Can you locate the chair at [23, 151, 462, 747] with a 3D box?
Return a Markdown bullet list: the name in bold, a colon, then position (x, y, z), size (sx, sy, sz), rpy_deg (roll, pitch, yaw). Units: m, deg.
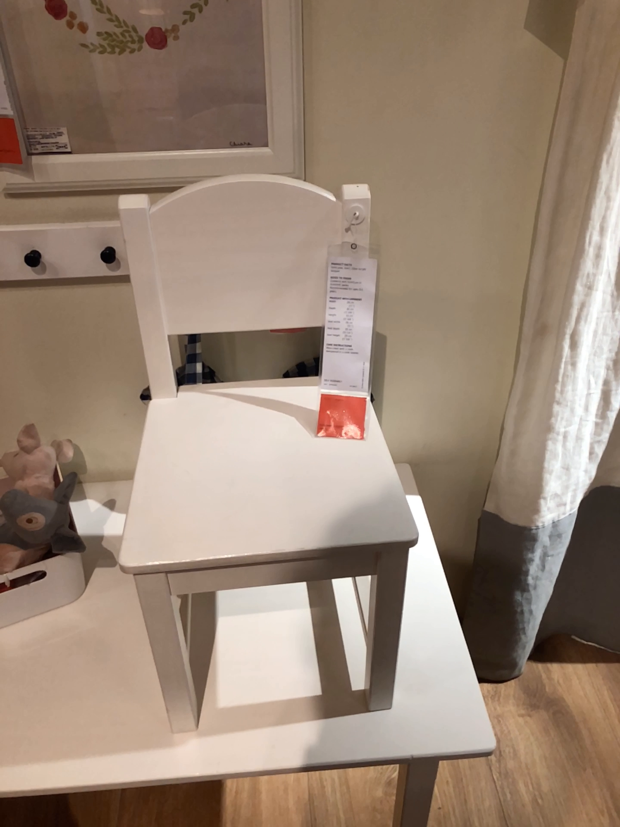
- **chair**: position (-0.056, 0.047, 0.759), size (0.300, 0.556, 0.322), rpy_deg (-5, 36, -5)
